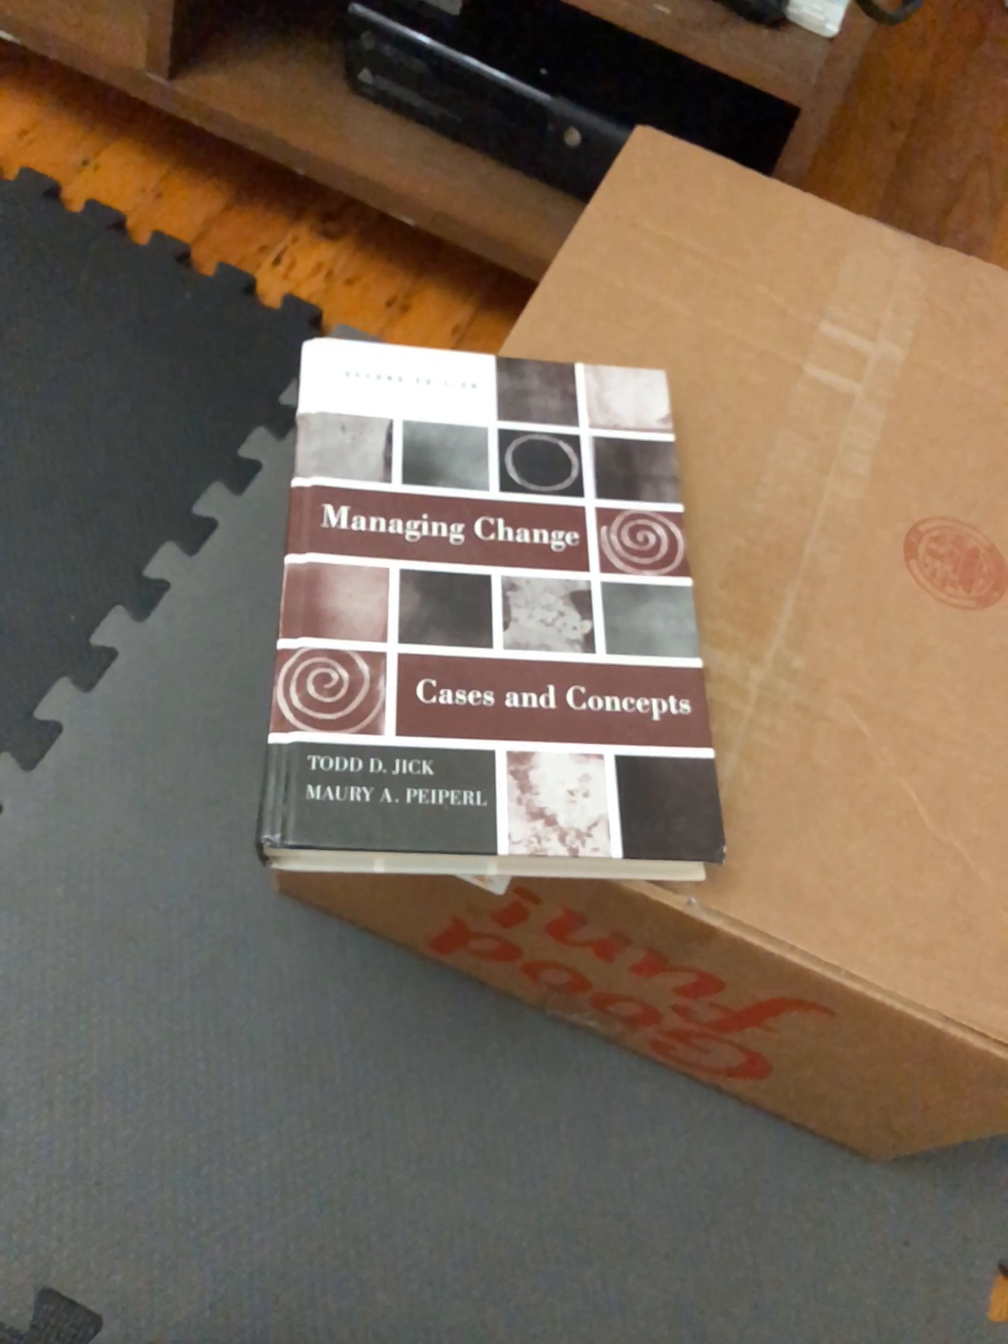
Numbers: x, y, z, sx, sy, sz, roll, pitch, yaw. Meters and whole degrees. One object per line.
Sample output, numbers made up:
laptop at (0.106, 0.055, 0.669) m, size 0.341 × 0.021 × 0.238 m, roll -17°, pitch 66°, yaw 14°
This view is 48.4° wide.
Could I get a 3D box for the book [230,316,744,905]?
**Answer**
book at (-0.008, -0.033, 0.460) m, size 0.180 × 0.030 × 0.251 m, roll 3°, pitch 61°, yaw -10°
